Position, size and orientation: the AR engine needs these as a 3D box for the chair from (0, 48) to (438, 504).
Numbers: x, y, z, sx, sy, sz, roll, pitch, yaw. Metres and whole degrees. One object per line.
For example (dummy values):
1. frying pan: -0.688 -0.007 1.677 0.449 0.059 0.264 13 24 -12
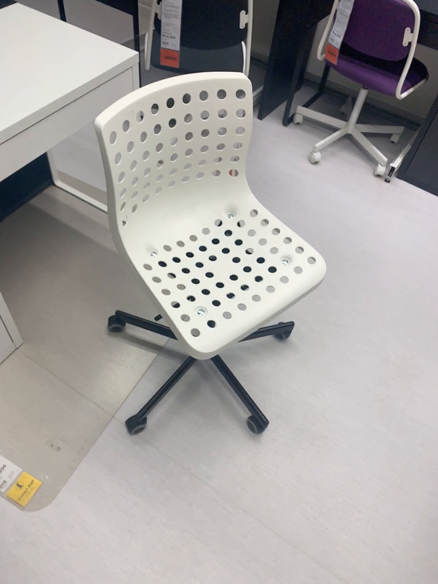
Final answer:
1. chair: -0.016 -0.035 1.208 0.681 0.788 0.671 -33 63 -28
